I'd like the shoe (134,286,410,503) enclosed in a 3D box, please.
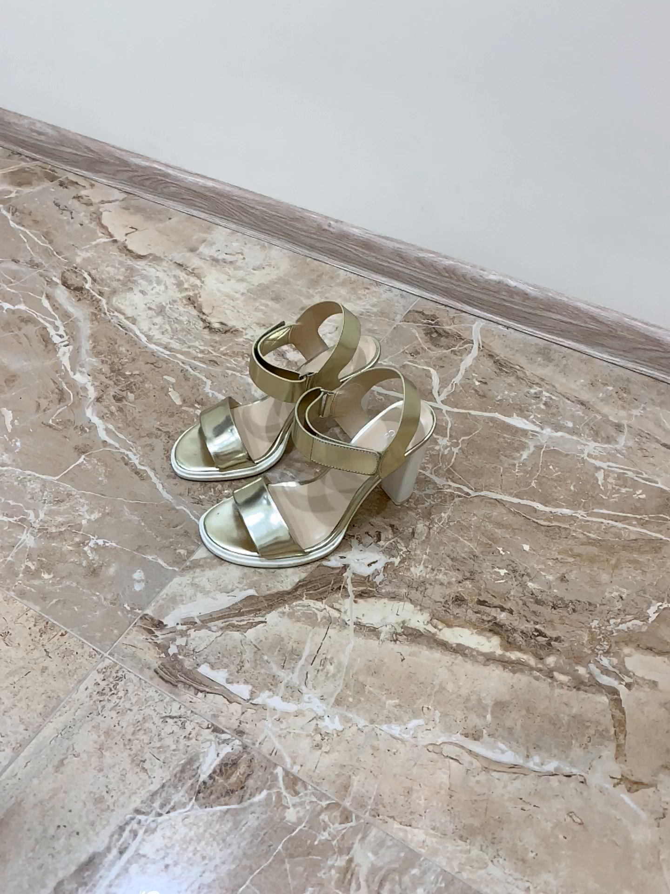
[{"bbox_3d":[-0.058,-0.052,0.645,0.220,0.129,0.096,-14,49,-18],"label":"shoe"}]

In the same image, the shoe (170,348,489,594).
[{"bbox_3d":[-0.007,0.016,0.580,0.230,0.119,0.100,-15,49,-18],"label":"shoe"}]
